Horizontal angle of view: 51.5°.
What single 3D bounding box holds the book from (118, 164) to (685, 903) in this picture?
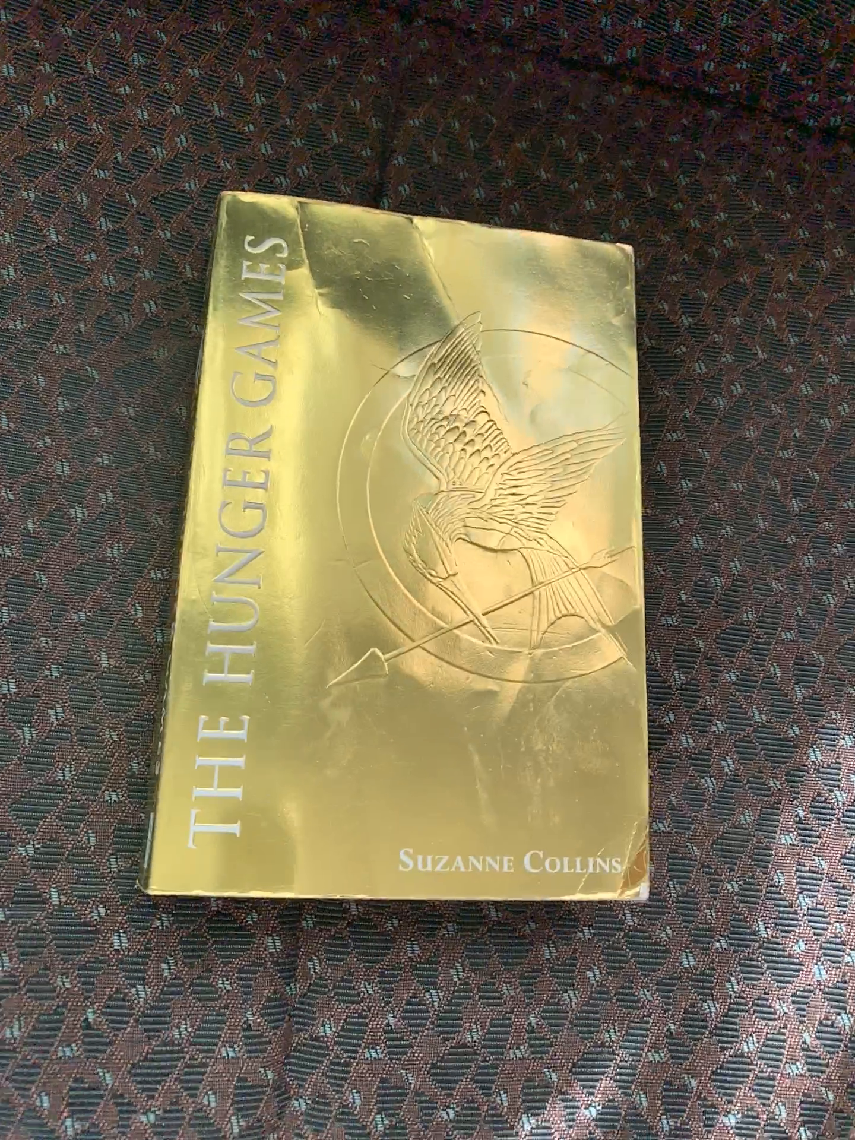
[{"bbox_3d":[-0.003,-0.010,0.261,0.142,0.037,0.200,5,75,-11],"label":"book"}]
